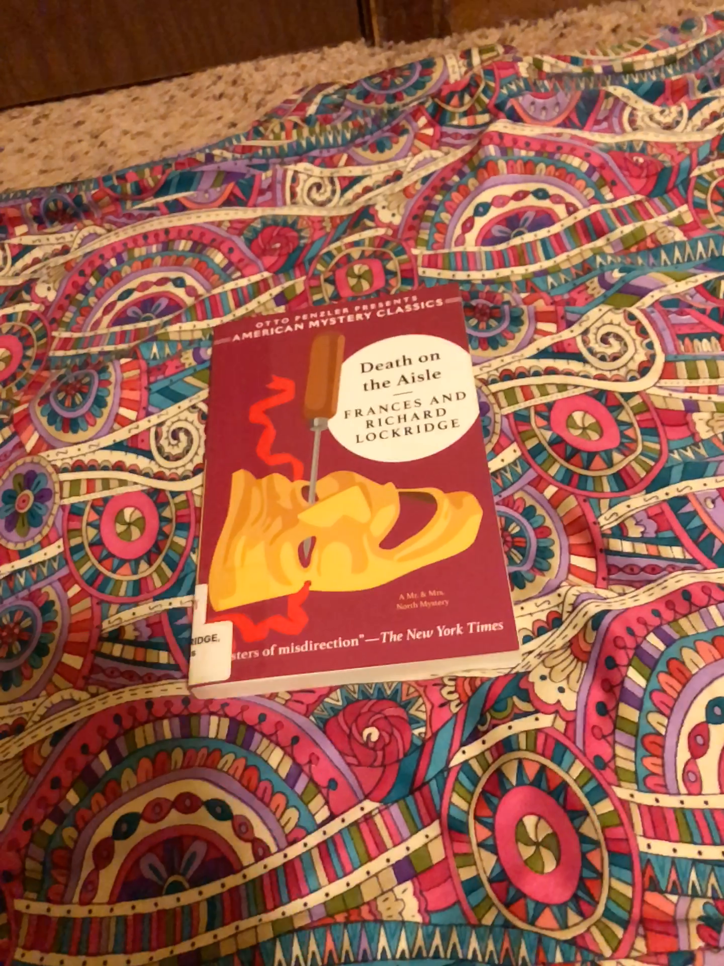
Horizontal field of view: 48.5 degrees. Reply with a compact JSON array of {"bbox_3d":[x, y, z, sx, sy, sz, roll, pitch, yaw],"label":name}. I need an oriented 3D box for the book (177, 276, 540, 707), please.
[{"bbox_3d":[-0.006,-0.006,0.363,0.137,0.024,0.196,-7,57,6],"label":"book"}]
